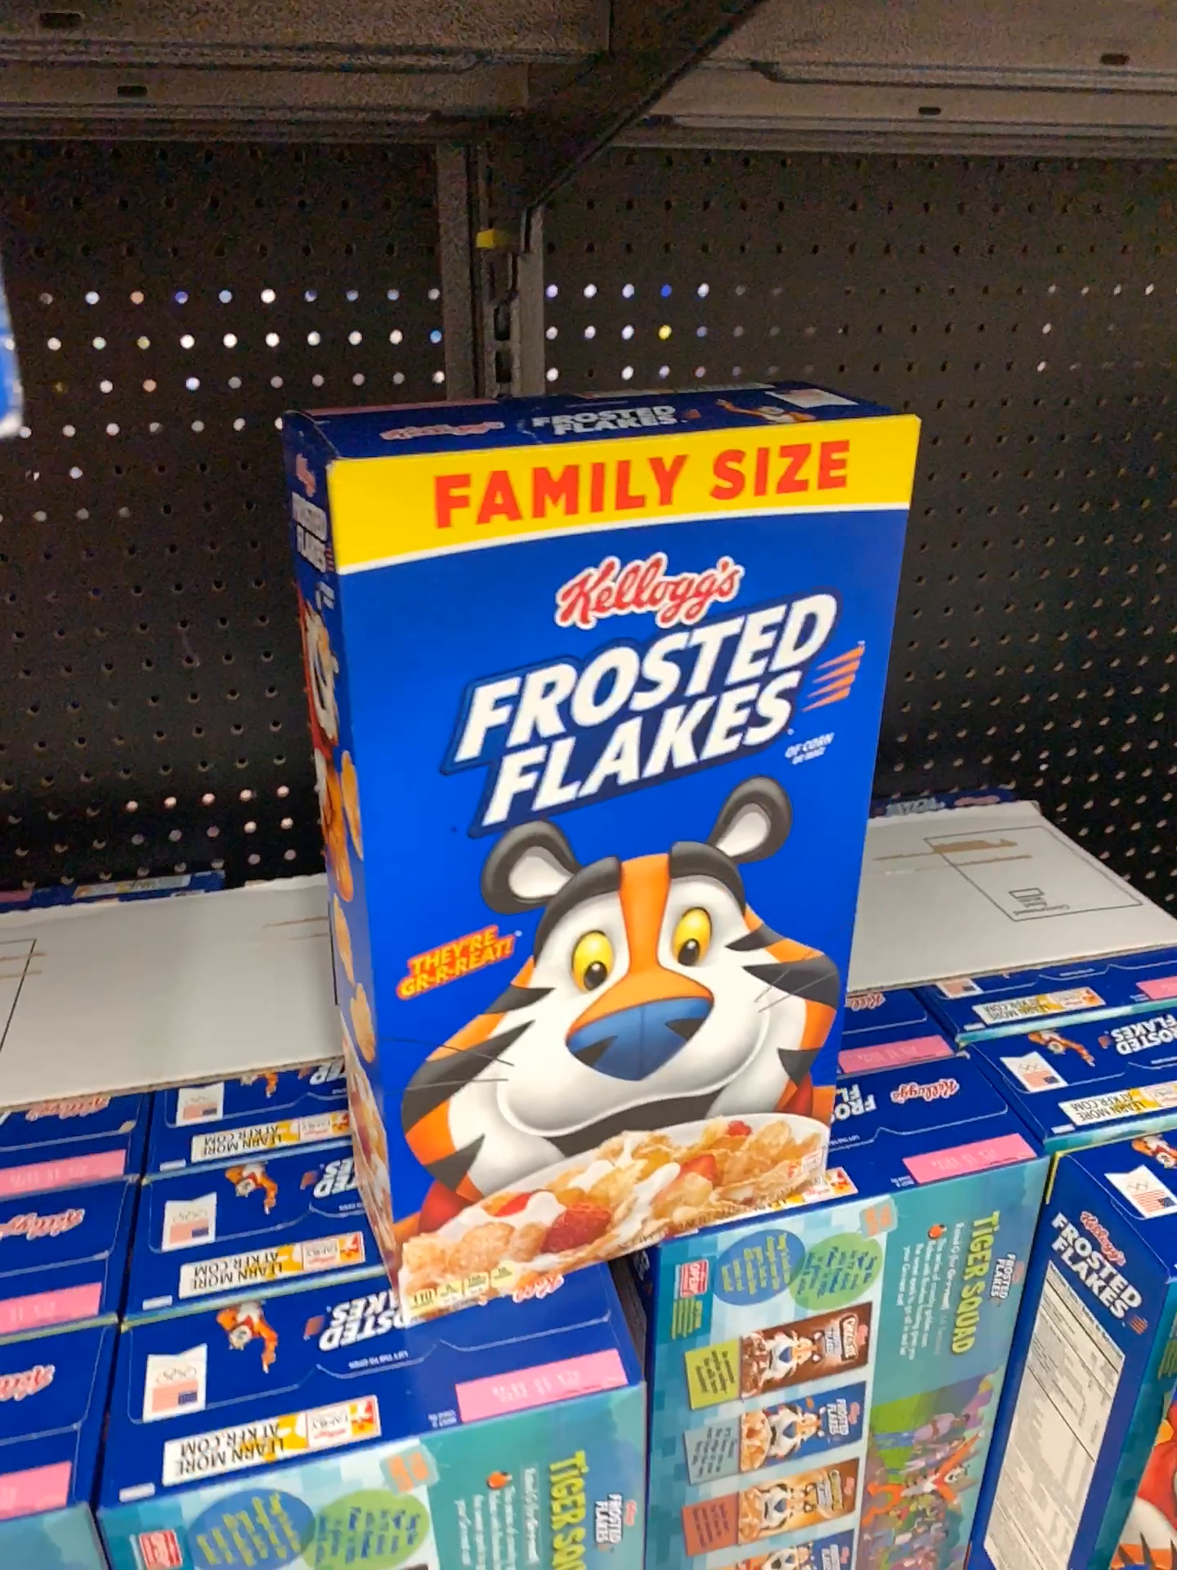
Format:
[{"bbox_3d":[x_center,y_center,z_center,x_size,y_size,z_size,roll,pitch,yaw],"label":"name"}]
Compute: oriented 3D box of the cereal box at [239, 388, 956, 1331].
[{"bbox_3d":[0.001,0.029,0.450,0.210,0.318,0.080,-9,28,-19],"label":"cereal box"}]
